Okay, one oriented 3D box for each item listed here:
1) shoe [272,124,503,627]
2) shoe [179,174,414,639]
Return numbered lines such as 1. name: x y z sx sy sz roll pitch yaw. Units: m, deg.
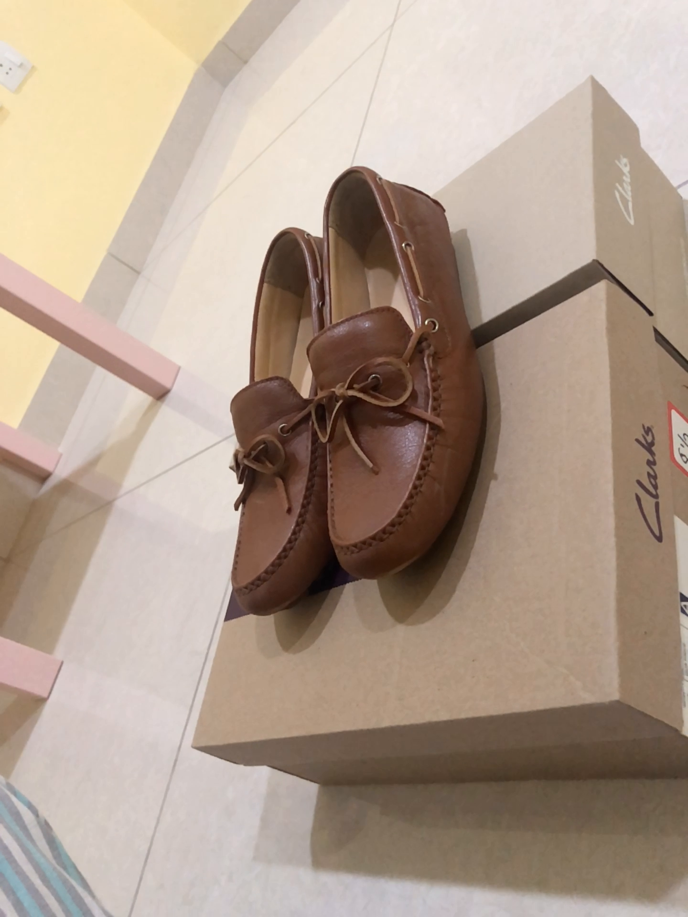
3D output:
1. shoe: 0.028 -0.056 0.446 0.080 0.080 0.280 -27 48 41
2. shoe: -0.022 -0.037 0.489 0.080 0.080 0.280 -23 51 45
